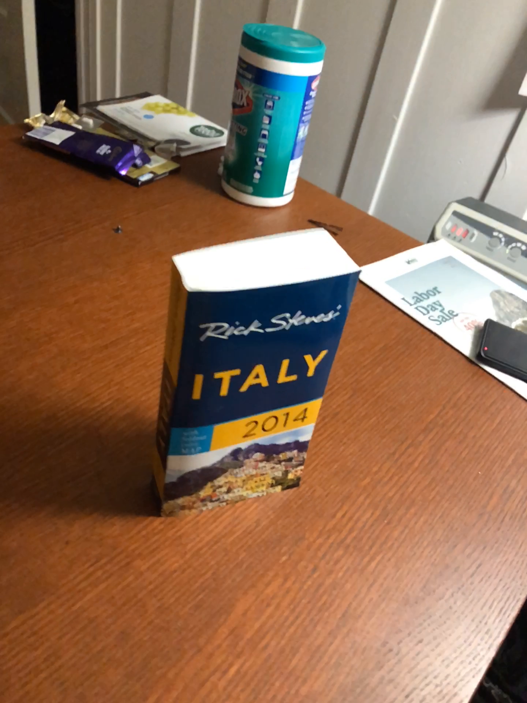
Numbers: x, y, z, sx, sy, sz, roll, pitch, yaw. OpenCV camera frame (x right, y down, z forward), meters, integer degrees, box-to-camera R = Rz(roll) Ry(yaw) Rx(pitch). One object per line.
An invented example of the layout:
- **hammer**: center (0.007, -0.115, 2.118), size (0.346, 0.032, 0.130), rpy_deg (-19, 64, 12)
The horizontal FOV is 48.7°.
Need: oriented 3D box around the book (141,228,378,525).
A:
- **book**: center (-0.012, 0.021, 0.408), size (0.130, 0.199, 0.050), rpy_deg (-11, 41, -27)
